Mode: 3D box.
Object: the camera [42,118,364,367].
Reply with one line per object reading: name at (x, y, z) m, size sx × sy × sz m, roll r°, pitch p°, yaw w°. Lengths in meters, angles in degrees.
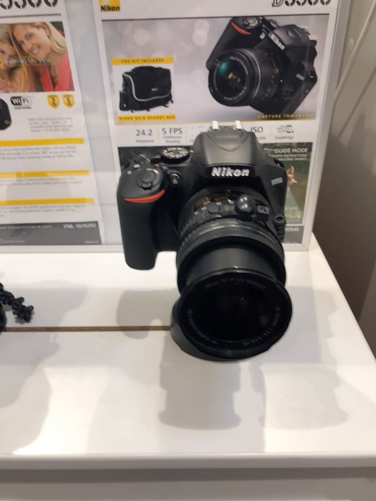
camera at (0.007, -0.015, 0.251) m, size 0.130 × 0.089 × 0.141 m, roll 0°, pitch 33°, yaw 1°
